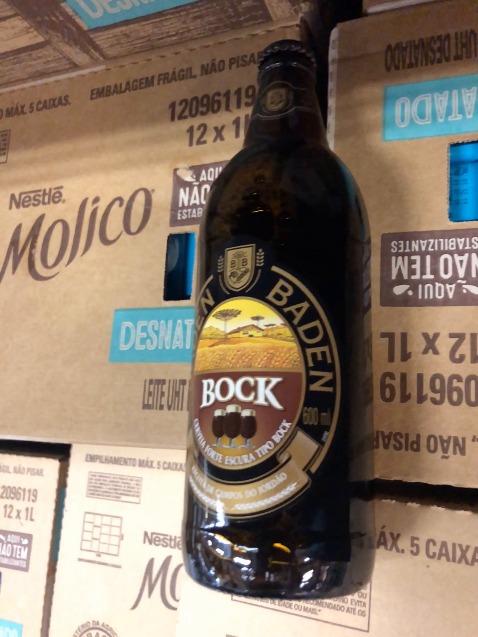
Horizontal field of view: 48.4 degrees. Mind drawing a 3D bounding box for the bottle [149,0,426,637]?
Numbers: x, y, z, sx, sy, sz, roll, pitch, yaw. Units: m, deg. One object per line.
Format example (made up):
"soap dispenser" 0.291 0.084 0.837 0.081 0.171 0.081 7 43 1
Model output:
"bottle" 0.024 -0.013 0.211 0.080 0.070 0.230 -3 77 21
